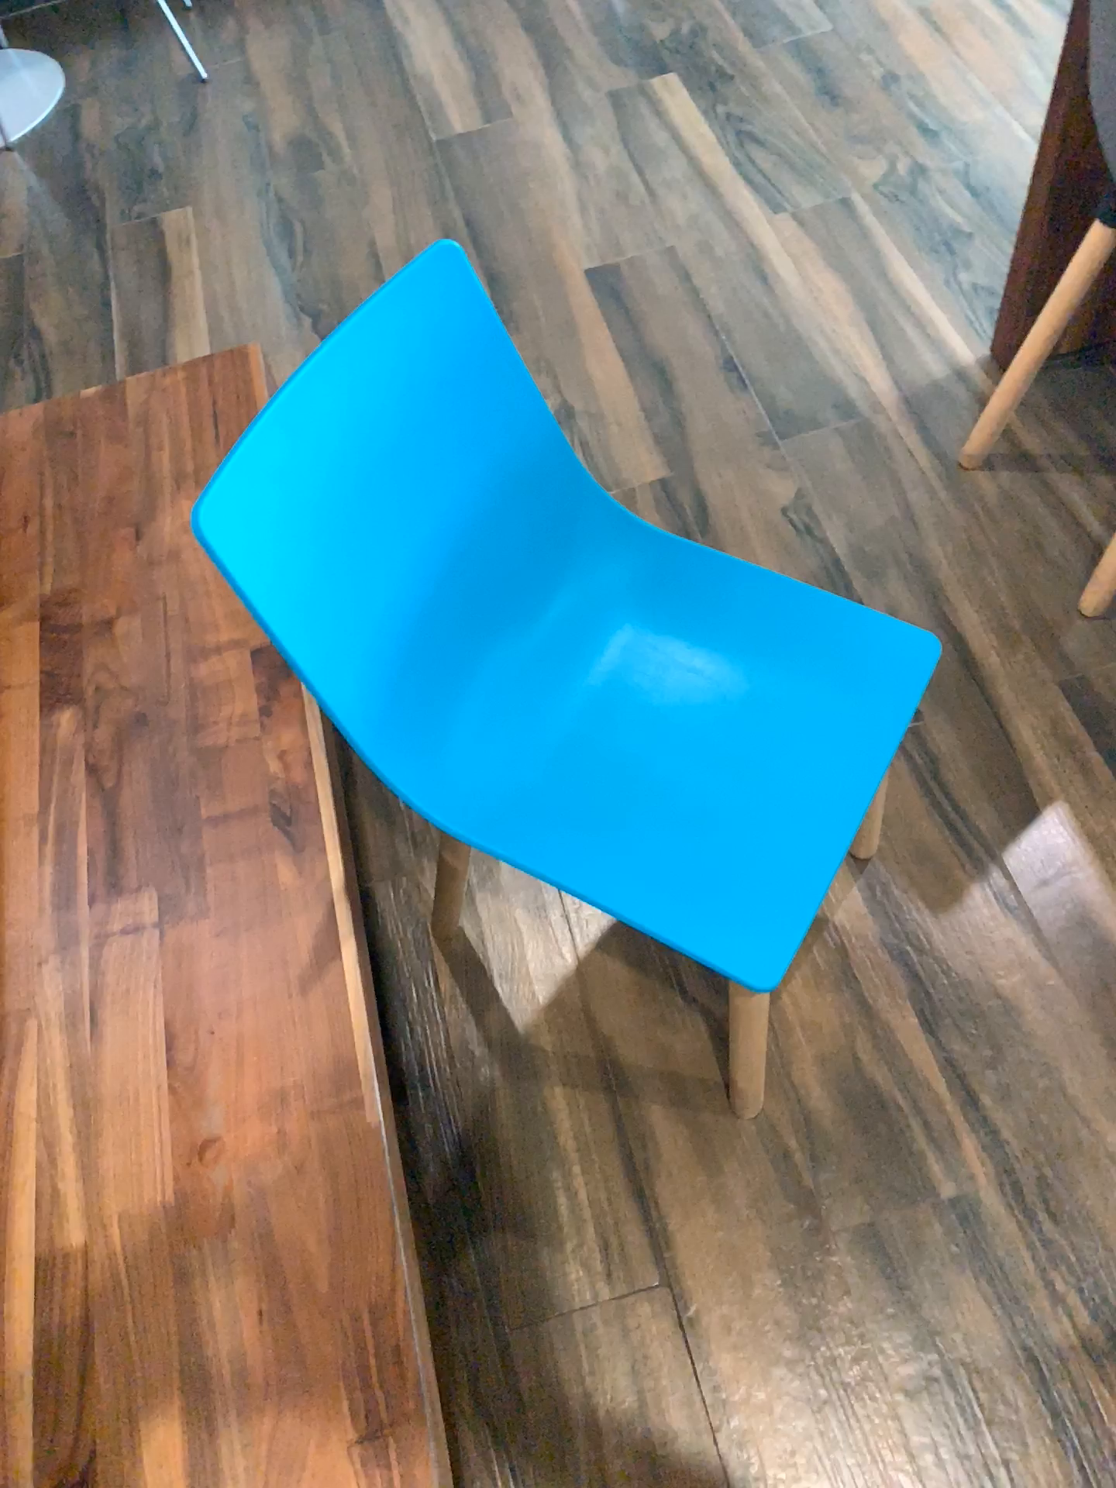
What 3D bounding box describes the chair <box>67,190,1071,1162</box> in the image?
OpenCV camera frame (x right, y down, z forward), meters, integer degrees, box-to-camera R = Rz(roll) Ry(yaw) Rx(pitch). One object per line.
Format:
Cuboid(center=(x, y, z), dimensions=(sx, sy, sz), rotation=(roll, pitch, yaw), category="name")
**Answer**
Cuboid(center=(0.050, -0.040, 1.132), dimensions=(0.581, 0.666, 0.512), rotation=(23, 64, 22), category="chair")
